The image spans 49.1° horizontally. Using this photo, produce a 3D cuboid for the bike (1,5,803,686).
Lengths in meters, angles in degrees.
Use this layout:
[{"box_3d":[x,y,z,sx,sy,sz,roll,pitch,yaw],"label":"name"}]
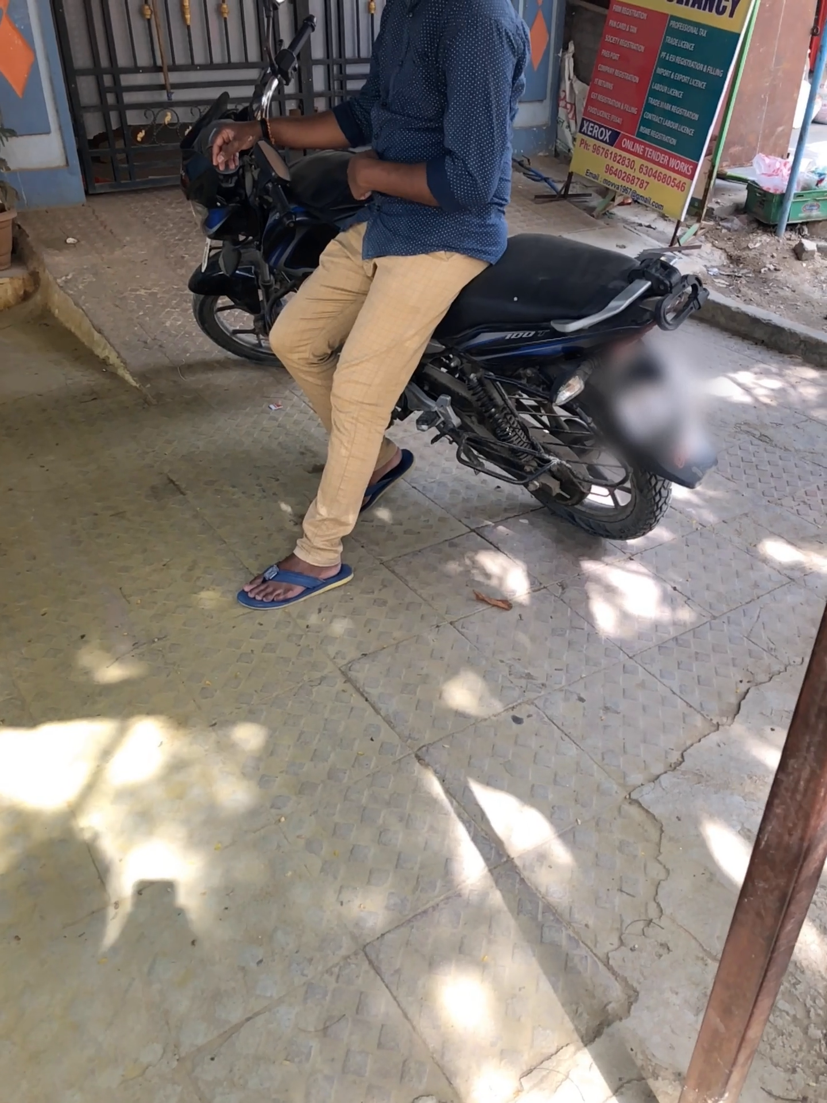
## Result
[{"box_3d":[-0.140,-0.696,2.337,1.745,1.174,0.787,27,41,35],"label":"bike"}]
